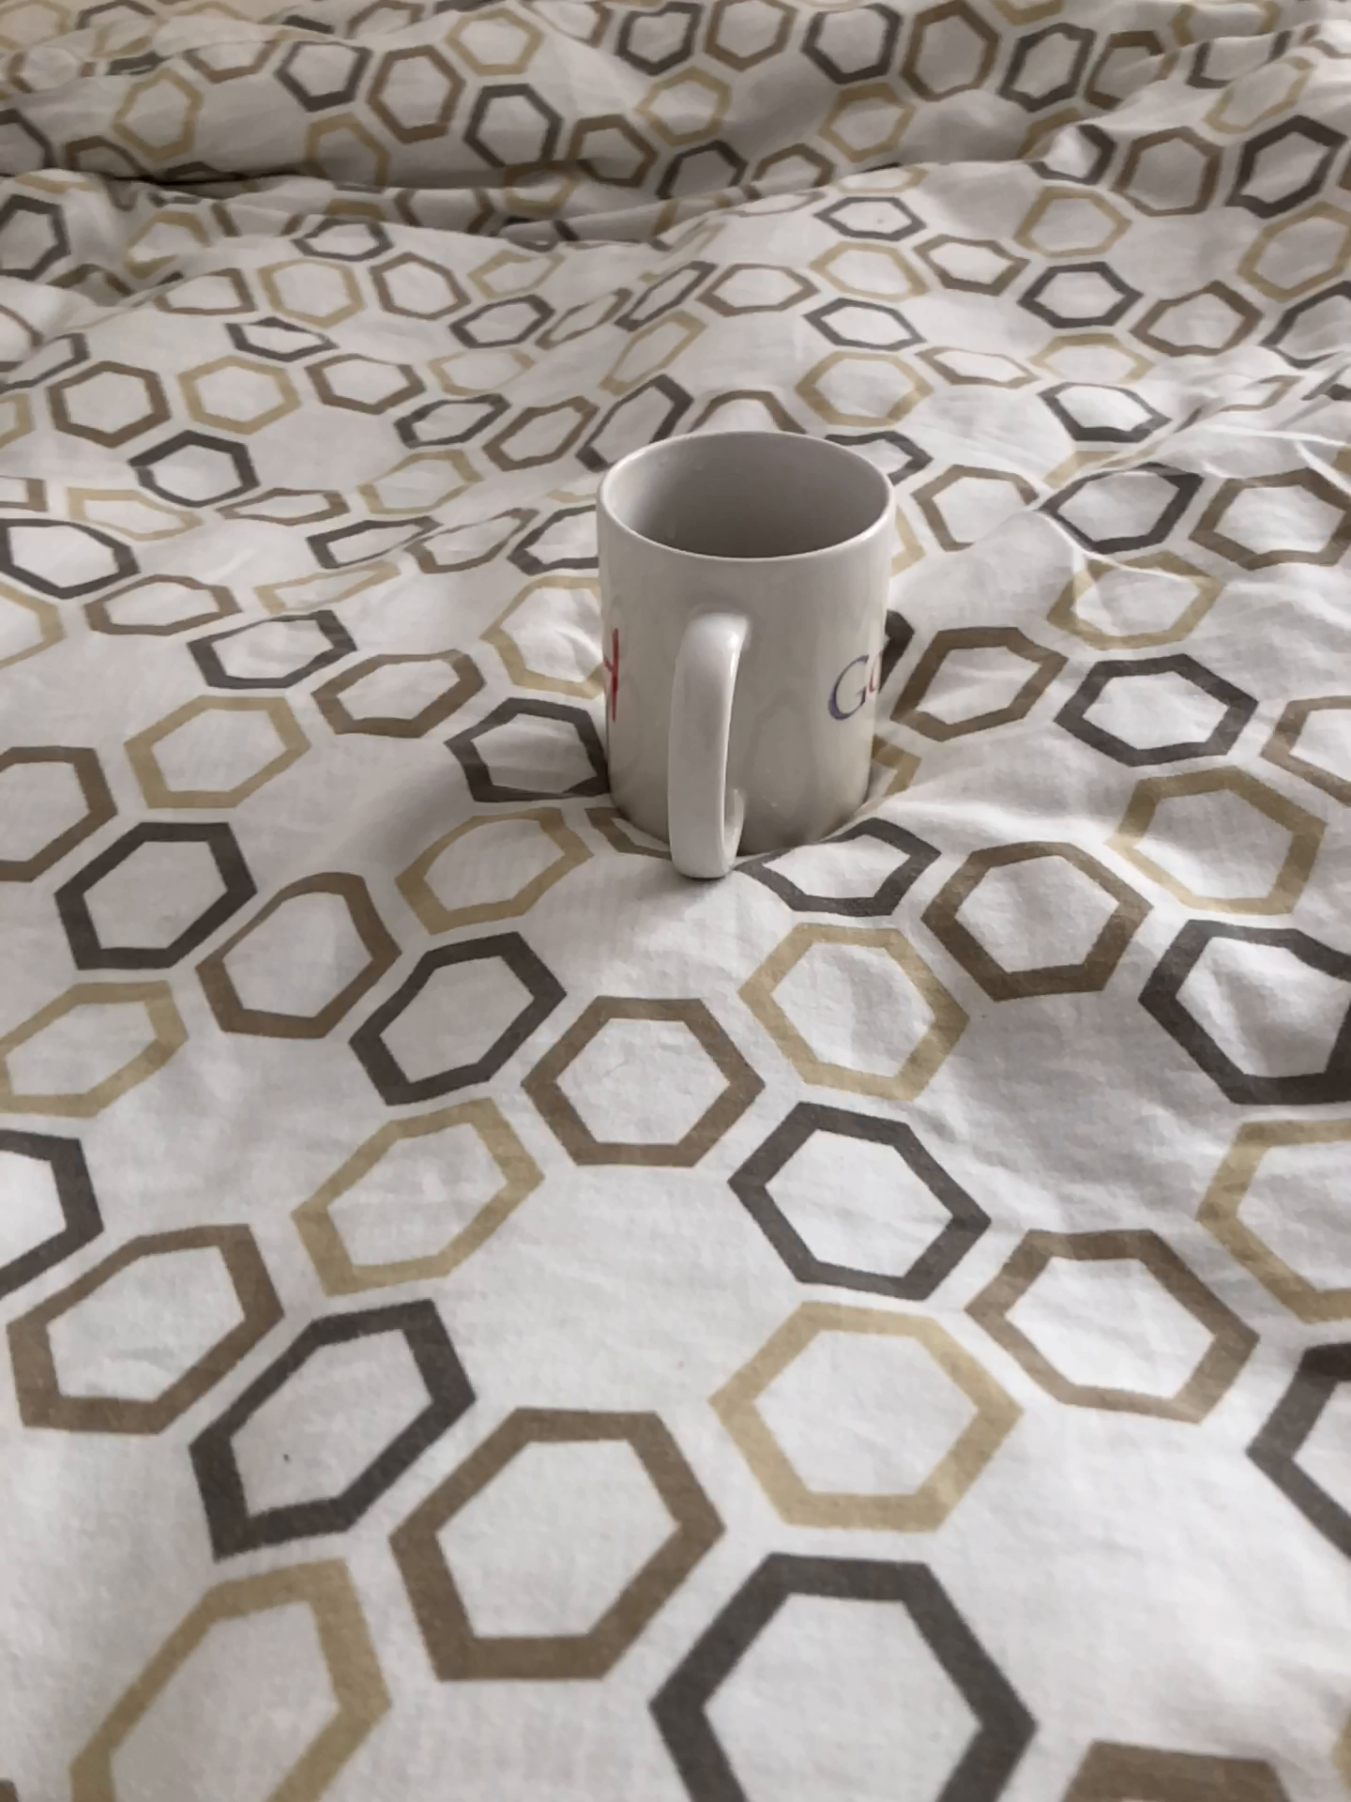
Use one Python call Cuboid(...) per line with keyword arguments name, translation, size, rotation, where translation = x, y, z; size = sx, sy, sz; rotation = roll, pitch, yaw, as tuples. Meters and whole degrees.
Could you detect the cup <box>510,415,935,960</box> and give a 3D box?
Cuboid(name="cup", translation=(0.019, -0.064, 0.417), size=(0.086, 0.087, 0.126), rotation=(8, 43, 11))
